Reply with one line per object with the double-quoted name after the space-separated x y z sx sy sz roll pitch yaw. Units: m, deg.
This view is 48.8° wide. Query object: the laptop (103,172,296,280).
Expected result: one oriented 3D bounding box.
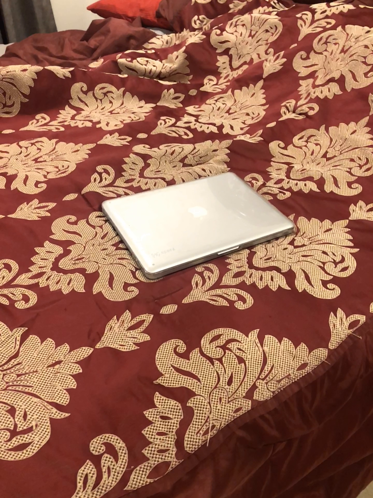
0.024 -0.060 0.788 0.304 0.015 0.208 -18 46 -24 "laptop"
